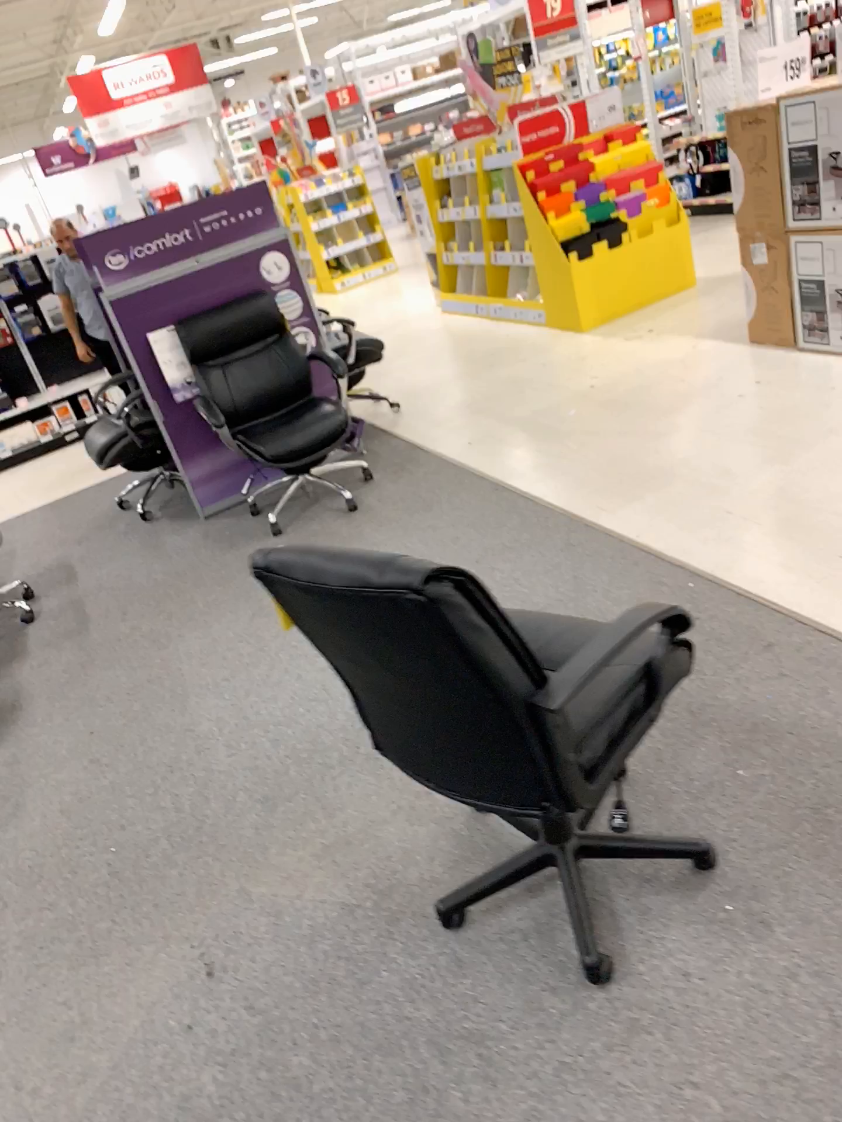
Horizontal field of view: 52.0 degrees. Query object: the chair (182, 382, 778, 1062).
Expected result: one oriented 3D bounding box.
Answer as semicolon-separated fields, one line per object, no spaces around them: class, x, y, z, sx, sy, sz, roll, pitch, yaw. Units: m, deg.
chair;0.165;0.247;1.759;0.682;0.965;0.701;7;35;47
